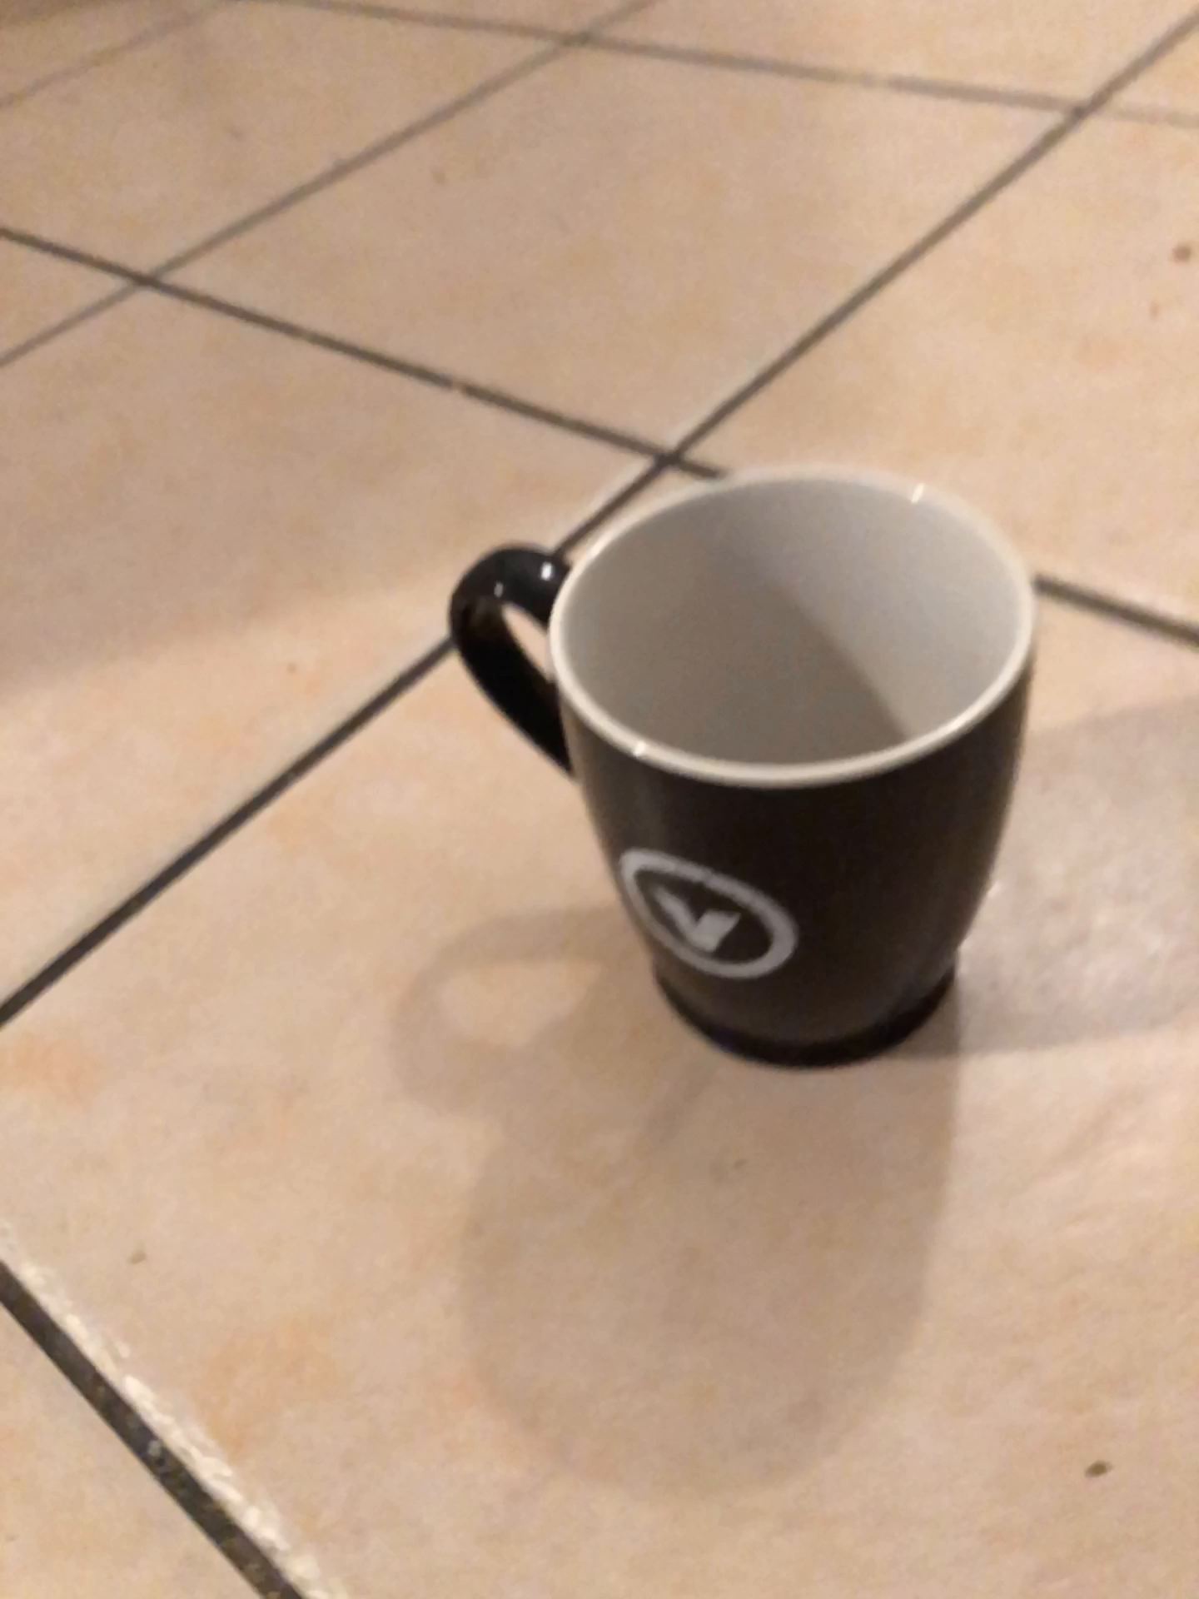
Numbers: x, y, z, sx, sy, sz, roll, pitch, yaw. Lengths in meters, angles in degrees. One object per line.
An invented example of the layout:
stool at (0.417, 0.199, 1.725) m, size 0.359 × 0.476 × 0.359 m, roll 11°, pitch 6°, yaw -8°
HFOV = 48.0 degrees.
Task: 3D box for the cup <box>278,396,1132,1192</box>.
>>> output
cup at (0.026, -0.008, 0.306) m, size 0.140 × 0.100 × 0.100 m, roll 23°, pitch 55°, yaw 29°
